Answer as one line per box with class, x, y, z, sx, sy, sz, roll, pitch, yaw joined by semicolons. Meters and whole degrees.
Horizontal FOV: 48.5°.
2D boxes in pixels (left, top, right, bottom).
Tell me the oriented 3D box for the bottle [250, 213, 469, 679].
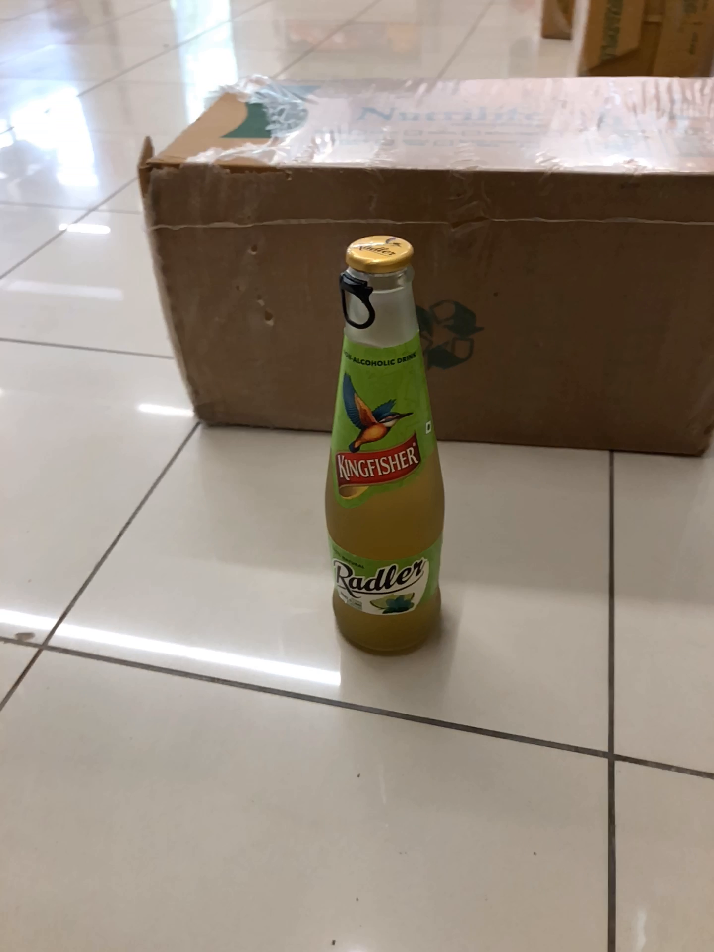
bottle;0.007;-0.003;0.359;0.070;0.209;0.060;6;39;11
